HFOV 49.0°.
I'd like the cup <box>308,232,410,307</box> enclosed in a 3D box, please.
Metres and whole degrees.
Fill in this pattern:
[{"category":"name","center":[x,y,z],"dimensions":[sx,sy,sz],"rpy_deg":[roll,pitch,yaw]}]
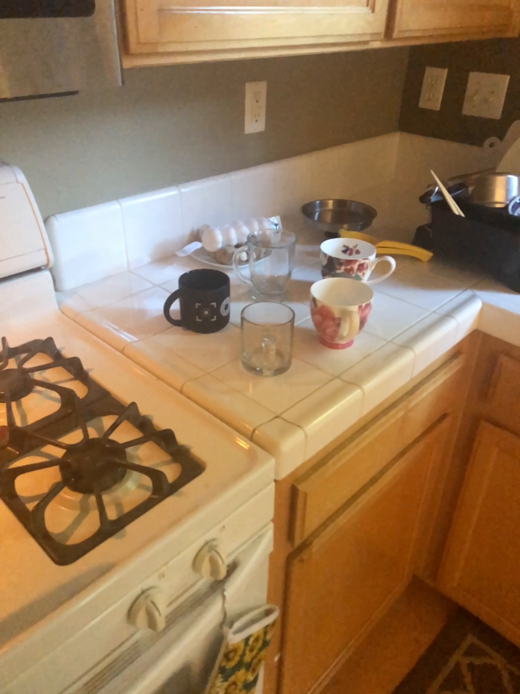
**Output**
[{"category":"cup","center":[0.190,-0.153,1.106],"dimensions":[0.160,0.079,0.101],"rpy_deg":[19,36,25]}]

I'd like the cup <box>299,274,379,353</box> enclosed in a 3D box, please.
[{"category":"cup","center":[0.120,-0.055,0.905],"dimensions":[0.100,0.069,0.131],"rpy_deg":[0,32,-3]}]

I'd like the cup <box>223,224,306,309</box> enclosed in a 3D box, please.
[{"category":"cup","center":[0.005,-0.151,1.054],"dimensions":[0.120,0.109,0.101],"rpy_deg":[-12,34,-20]}]

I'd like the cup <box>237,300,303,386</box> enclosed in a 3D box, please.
[{"category":"cup","center":[0.011,-0.009,0.885],"dimensions":[0.090,0.079,0.121],"rpy_deg":[-1,32,-4]}]

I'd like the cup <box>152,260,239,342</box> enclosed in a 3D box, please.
[{"category":"cup","center":[-0.102,-0.077,0.920],"dimensions":[0.111,0.079,0.080],"rpy_deg":[-24,40,-35]}]
